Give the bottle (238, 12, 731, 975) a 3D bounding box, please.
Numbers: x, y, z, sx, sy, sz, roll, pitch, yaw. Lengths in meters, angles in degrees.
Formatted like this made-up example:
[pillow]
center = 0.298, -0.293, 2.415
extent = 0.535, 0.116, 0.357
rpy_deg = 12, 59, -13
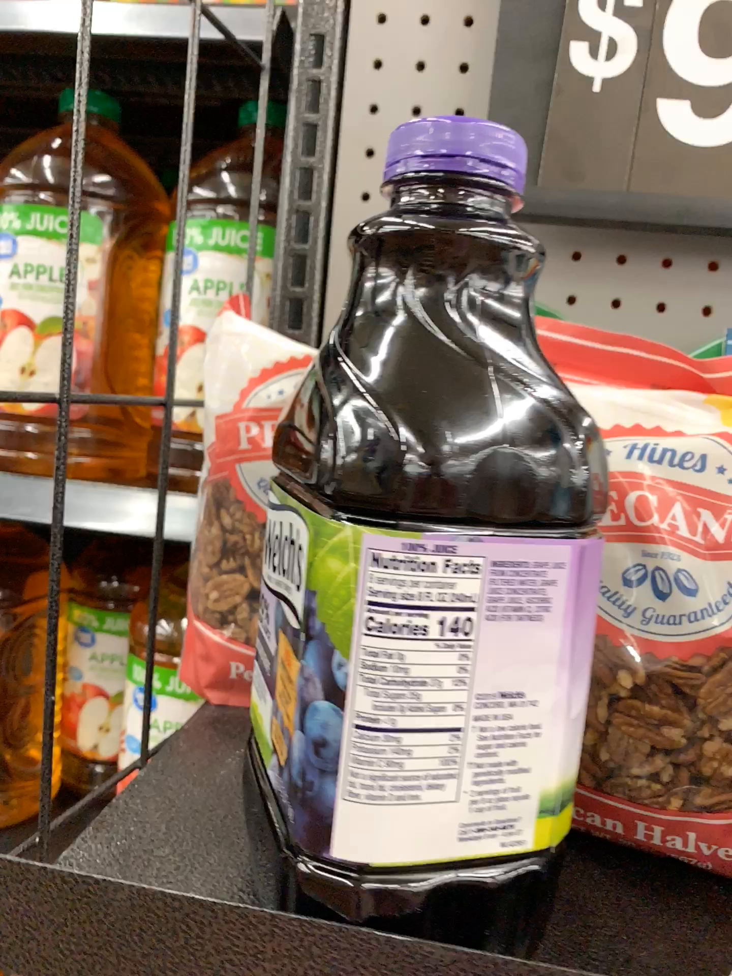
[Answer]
[bottle]
center = 0.024, 0.016, 0.256
extent = 0.100, 0.260, 0.120
rpy_deg = 4, 6, -16
